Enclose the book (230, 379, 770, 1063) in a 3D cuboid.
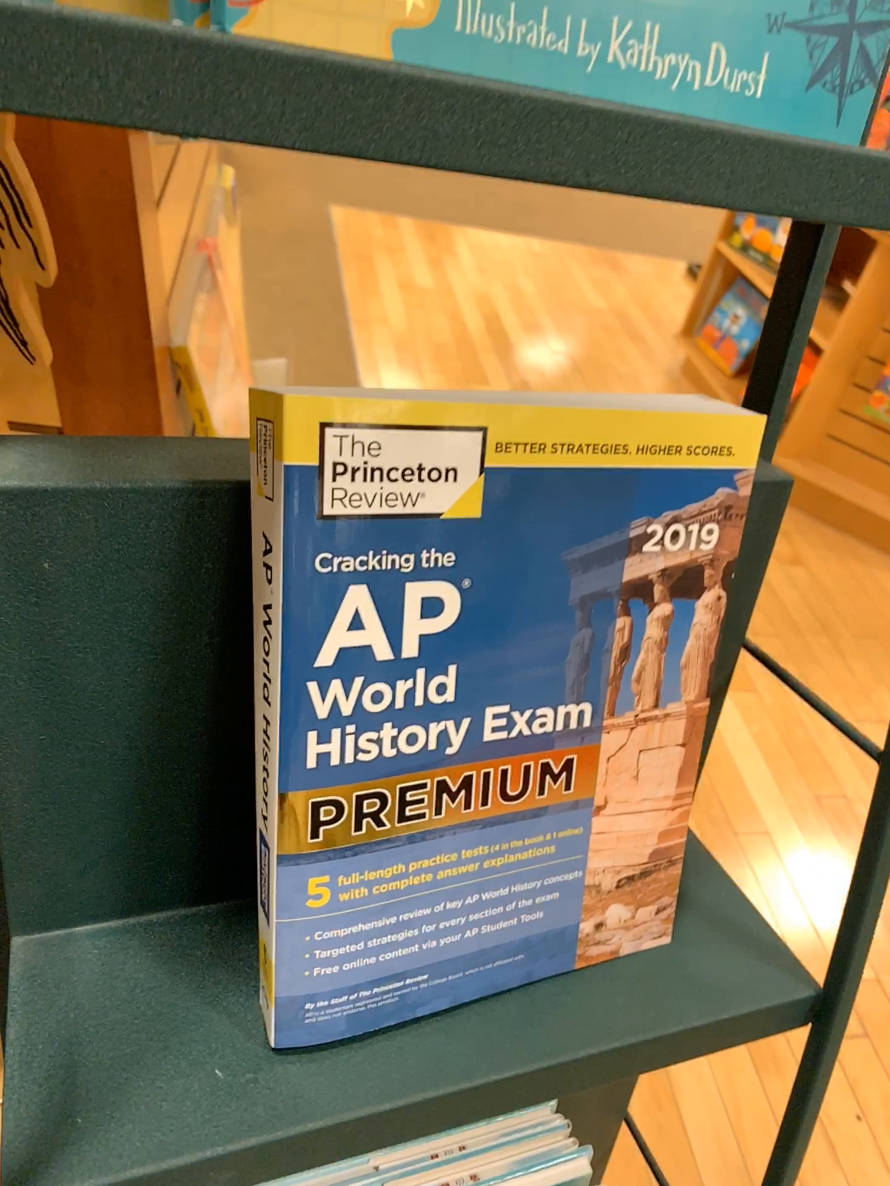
[{"bbox_3d":[0.022,0.047,0.407,0.215,0.269,0.057,-5,17,-23],"label":"book"}]
